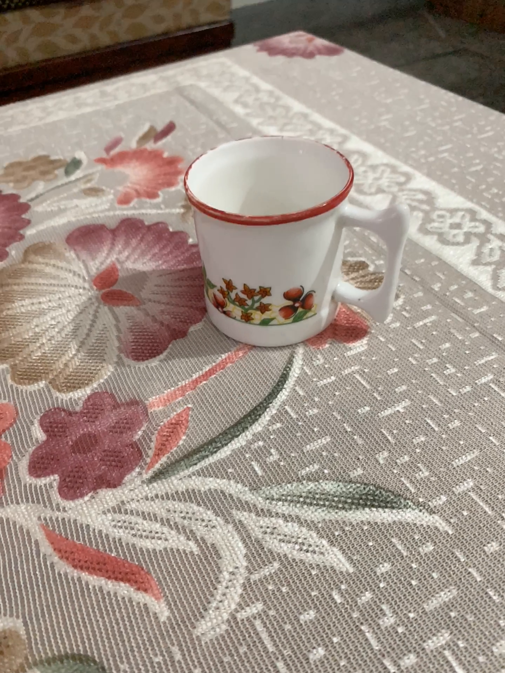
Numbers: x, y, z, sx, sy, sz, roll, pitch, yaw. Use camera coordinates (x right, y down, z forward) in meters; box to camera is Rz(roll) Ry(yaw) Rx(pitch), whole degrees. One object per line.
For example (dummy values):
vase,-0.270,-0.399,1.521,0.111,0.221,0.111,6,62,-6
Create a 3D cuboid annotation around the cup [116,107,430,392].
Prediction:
cup,0.012,-0.041,0.228,0.100,0.080,0.070,14,47,19
